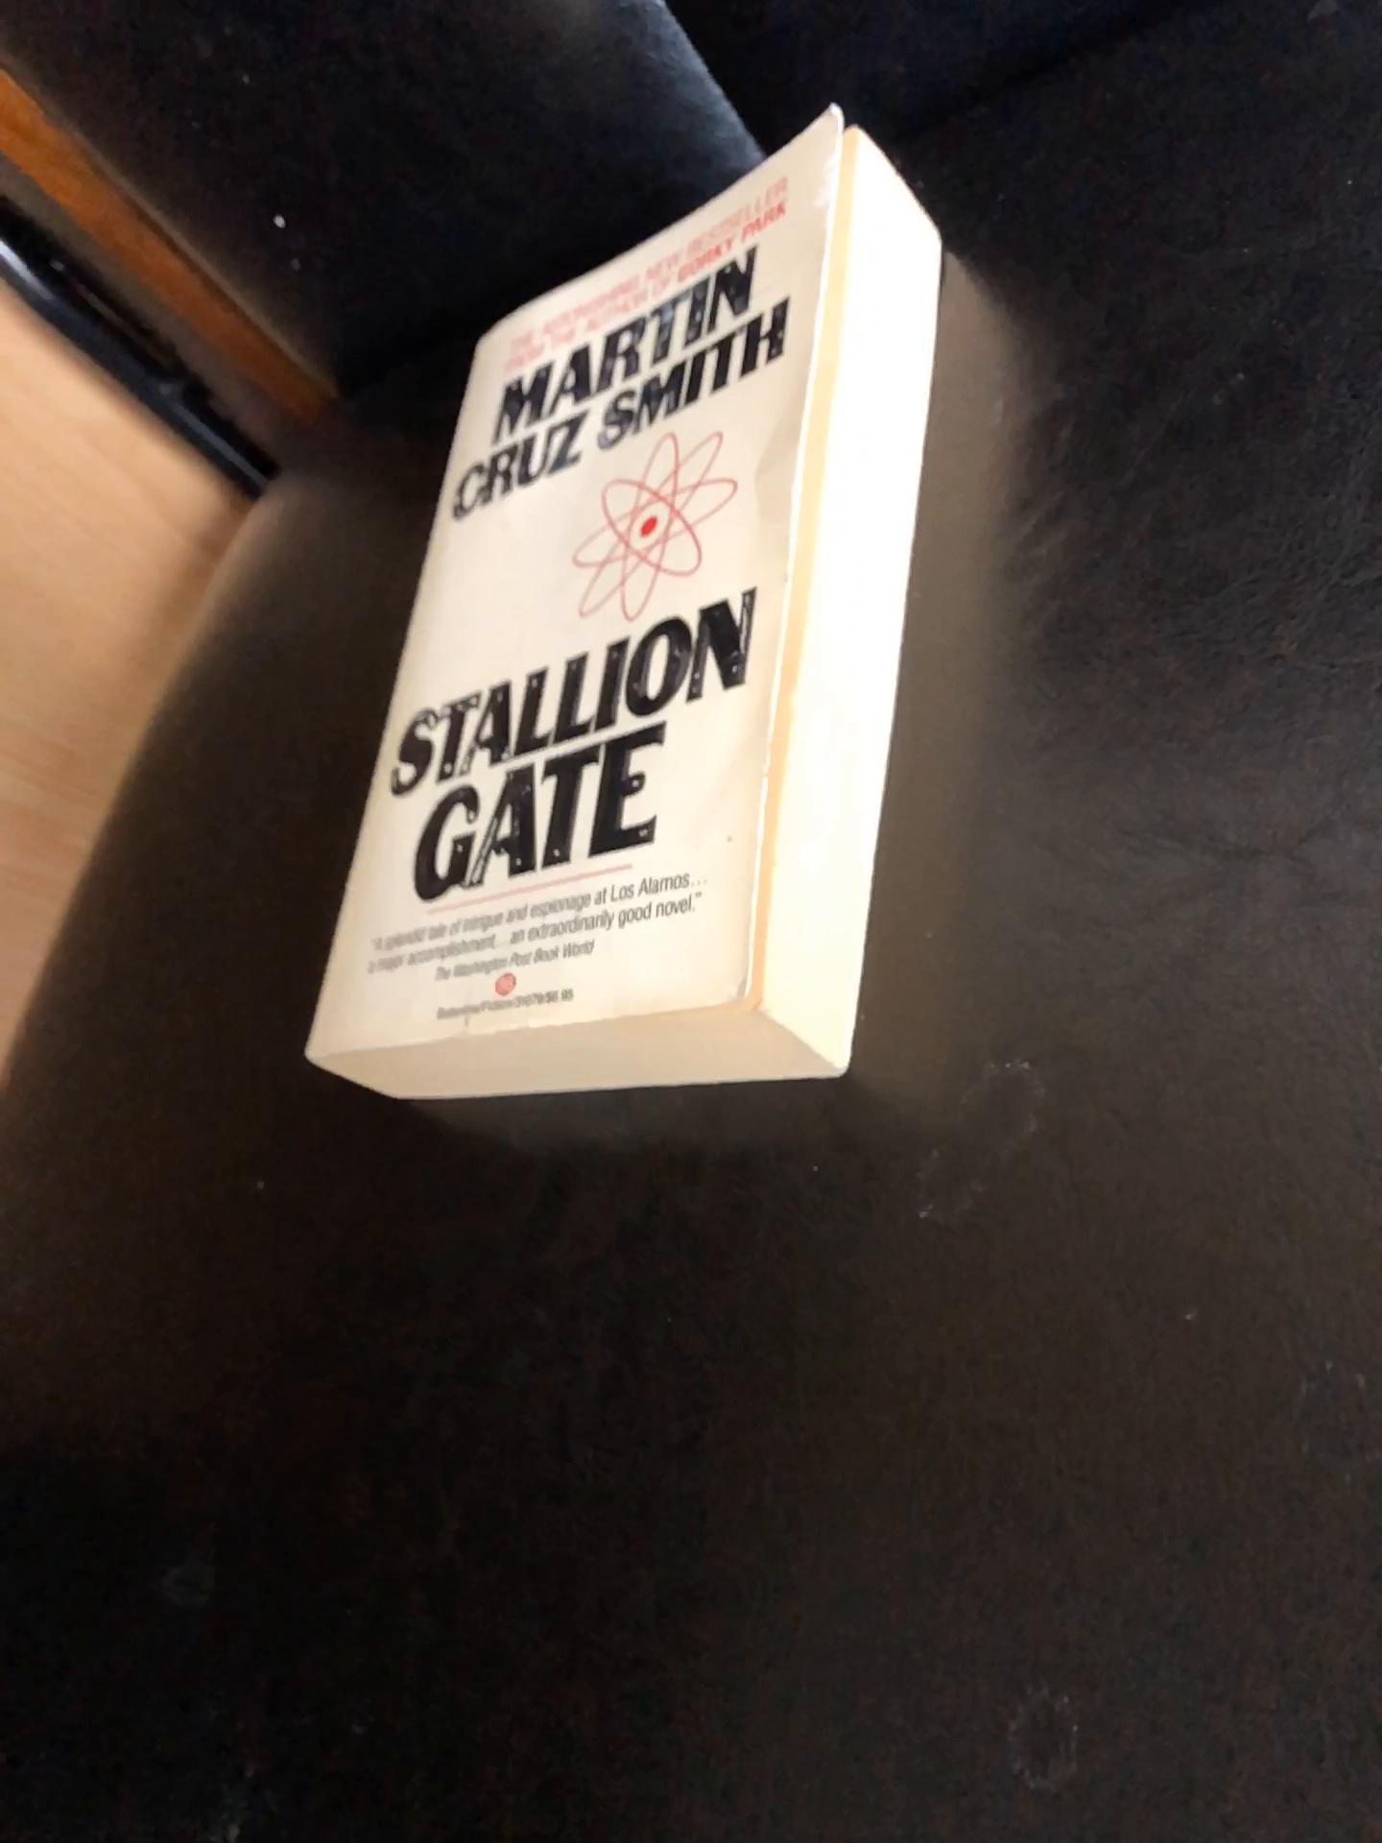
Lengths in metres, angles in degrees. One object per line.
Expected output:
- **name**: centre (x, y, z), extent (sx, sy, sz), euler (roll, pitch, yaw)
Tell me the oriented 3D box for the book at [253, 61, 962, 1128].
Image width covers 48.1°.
- **book**: centre (-0.013, -0.058, 0.294), extent (0.110, 0.030, 0.190), euler (-8, 62, 39)
